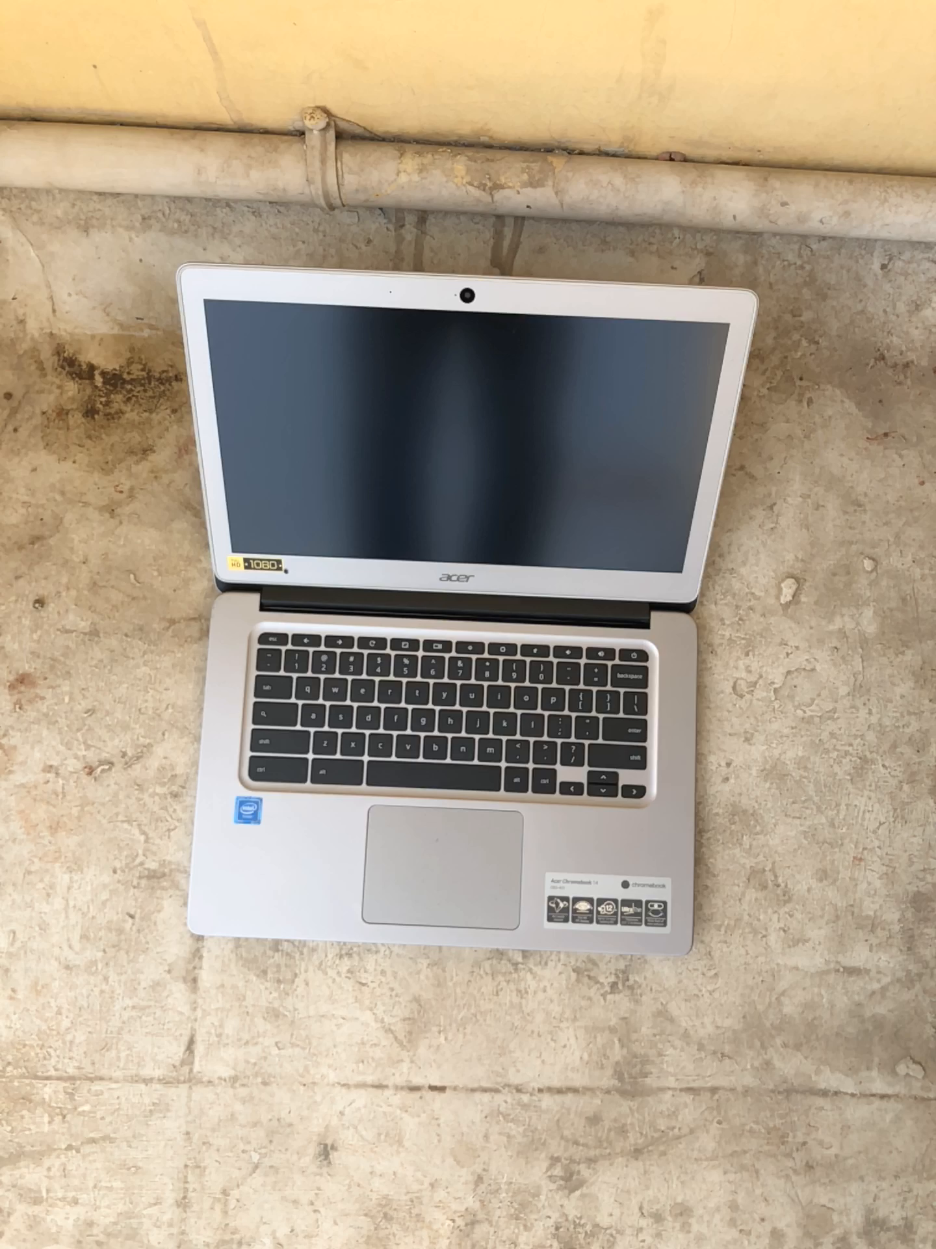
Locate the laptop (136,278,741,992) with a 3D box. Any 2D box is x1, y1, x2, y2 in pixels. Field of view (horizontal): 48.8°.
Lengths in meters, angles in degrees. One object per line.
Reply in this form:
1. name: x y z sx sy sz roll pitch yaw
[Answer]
1. laptop: -0.011 0.006 0.629 0.315 0.137 0.379 2 84 0
